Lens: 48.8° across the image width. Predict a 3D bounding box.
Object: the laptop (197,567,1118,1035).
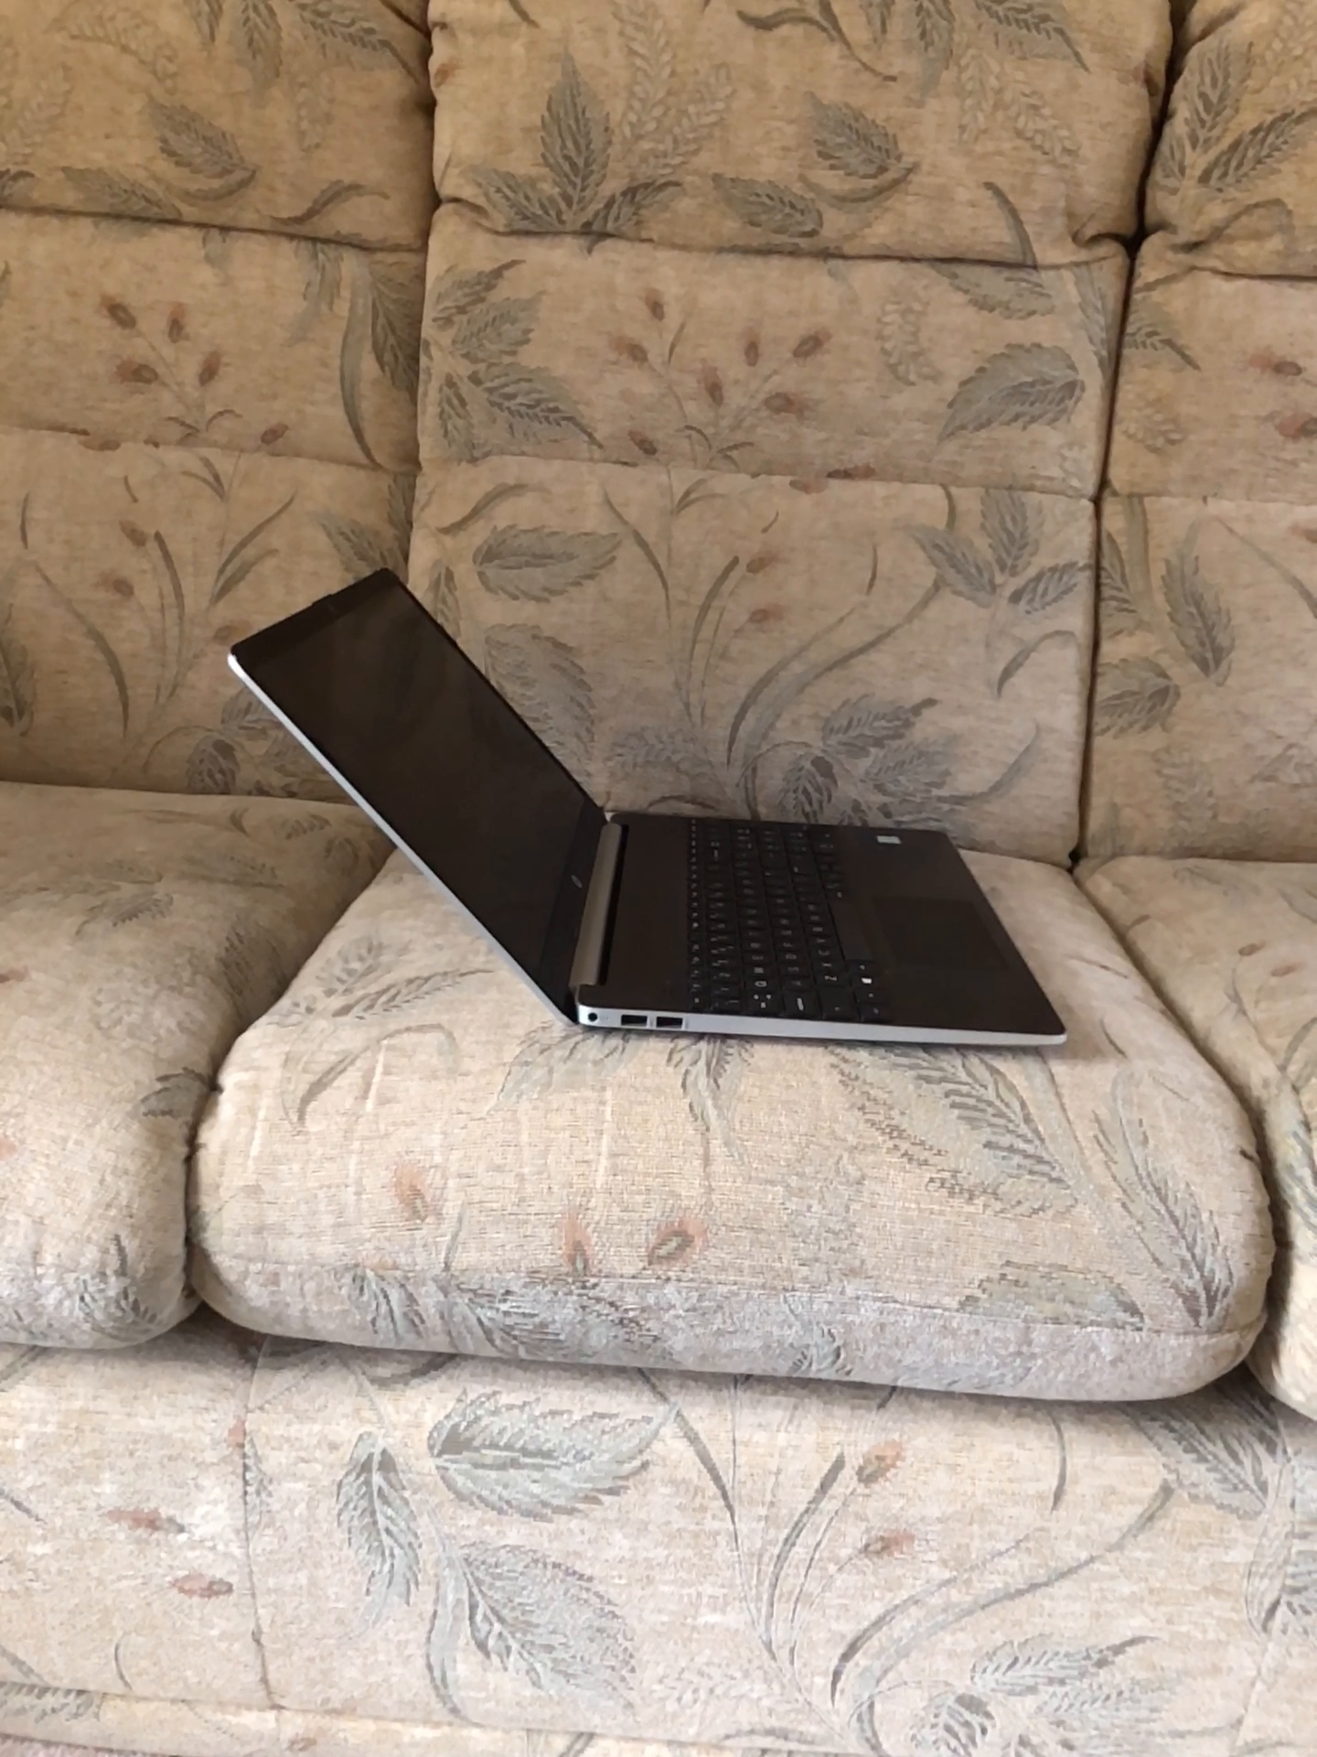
[{"bbox_3d":[0.004,-0.063,0.821,0.397,0.163,0.340,3,20,-1],"label":"laptop"}]
